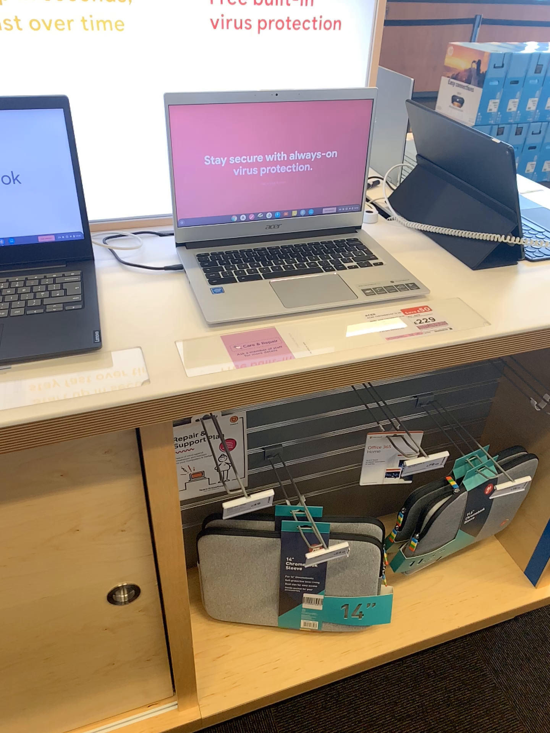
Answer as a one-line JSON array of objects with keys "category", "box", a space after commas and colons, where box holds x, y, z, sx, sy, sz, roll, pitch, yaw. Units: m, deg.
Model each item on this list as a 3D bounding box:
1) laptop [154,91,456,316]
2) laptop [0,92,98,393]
[{"category": "laptop", "box": [0.022, -0.235, 0.758, 0.303, 0.206, 0.238, -10, 37, -18]}, {"category": "laptop", "box": [-0.381, -0.166, 0.641, 0.308, 0.204, 0.285, -8, 38, -16]}]
